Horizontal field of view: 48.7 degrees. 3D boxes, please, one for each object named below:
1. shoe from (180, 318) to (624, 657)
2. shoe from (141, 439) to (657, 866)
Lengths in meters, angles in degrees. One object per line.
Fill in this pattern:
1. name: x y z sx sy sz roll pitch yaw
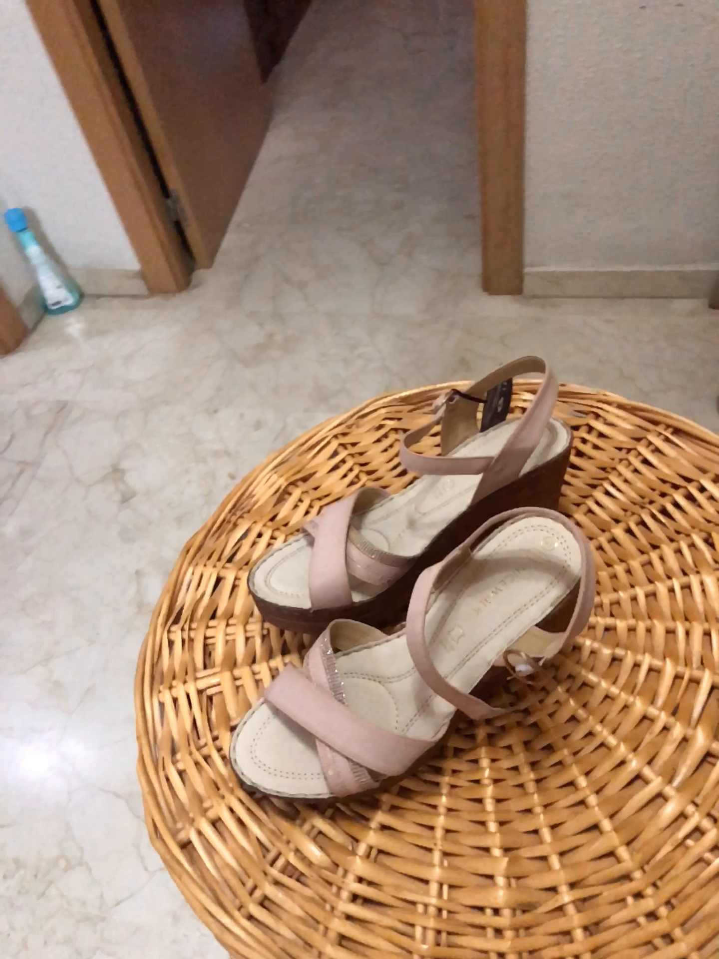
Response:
1. shoe: 0.030 0.004 0.536 0.260 0.104 0.100 -21 50 -7
2. shoe: 0.023 0.095 0.458 0.251 0.100 0.112 -24 51 -9
